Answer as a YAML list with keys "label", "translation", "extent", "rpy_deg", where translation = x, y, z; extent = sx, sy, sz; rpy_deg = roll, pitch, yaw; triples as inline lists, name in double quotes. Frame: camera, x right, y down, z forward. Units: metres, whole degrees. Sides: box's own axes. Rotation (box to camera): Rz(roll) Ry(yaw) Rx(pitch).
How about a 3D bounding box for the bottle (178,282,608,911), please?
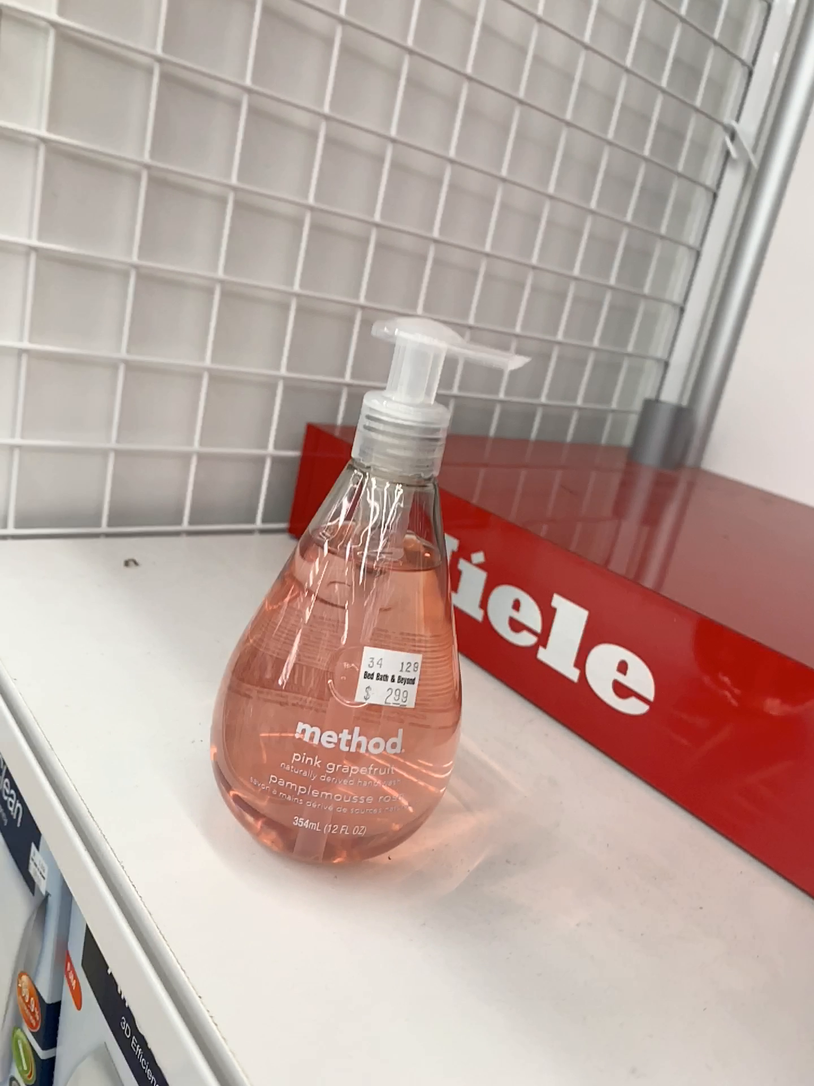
- label: "bottle"
  translation: [-0.011, 0.013, 0.255]
  extent: [0.080, 0.160, 0.078]
  rpy_deg: [12, 16, -3]
